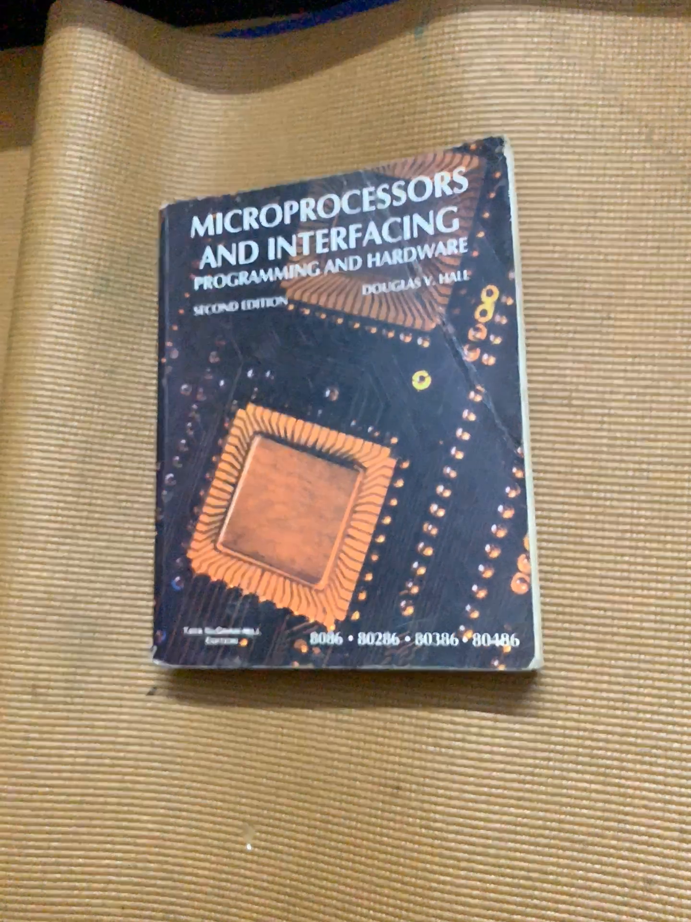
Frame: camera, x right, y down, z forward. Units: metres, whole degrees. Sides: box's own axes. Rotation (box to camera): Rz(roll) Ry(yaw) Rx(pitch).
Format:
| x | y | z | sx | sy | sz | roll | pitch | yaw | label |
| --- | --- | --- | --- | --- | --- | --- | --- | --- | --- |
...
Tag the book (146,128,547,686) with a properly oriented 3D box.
| x | y | z | sx | sy | sz | roll | pitch | yaw | label |
| --- | --- | --- | --- | --- | --- | --- | --- | --- | --- |
| -0.005 | -0.031 | 0.499 | 0.259 | 0.060 | 0.339 | -3 | 82 | 19 | book |
